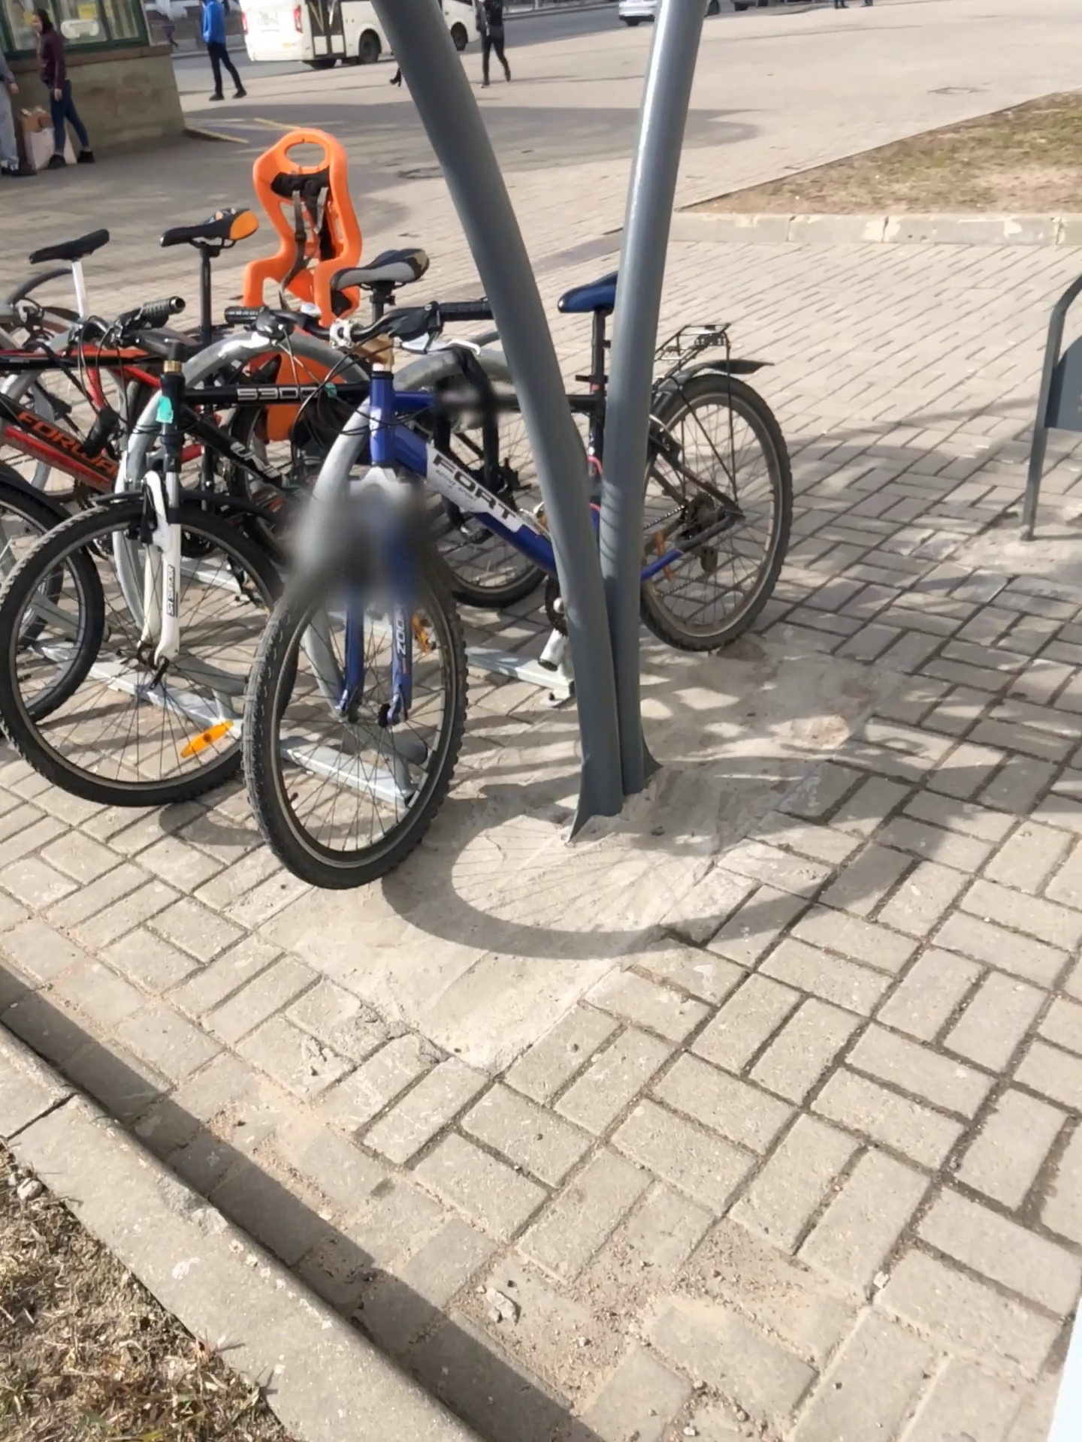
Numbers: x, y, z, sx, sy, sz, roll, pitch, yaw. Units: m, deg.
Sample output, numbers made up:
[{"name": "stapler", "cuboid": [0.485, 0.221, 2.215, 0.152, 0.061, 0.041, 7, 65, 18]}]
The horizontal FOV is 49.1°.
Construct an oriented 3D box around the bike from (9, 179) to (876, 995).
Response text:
[{"name": "bike", "cuboid": [-0.008, -0.436, 2.352, 0.628, 0.959, 1.664, 20, 38, 35]}]
